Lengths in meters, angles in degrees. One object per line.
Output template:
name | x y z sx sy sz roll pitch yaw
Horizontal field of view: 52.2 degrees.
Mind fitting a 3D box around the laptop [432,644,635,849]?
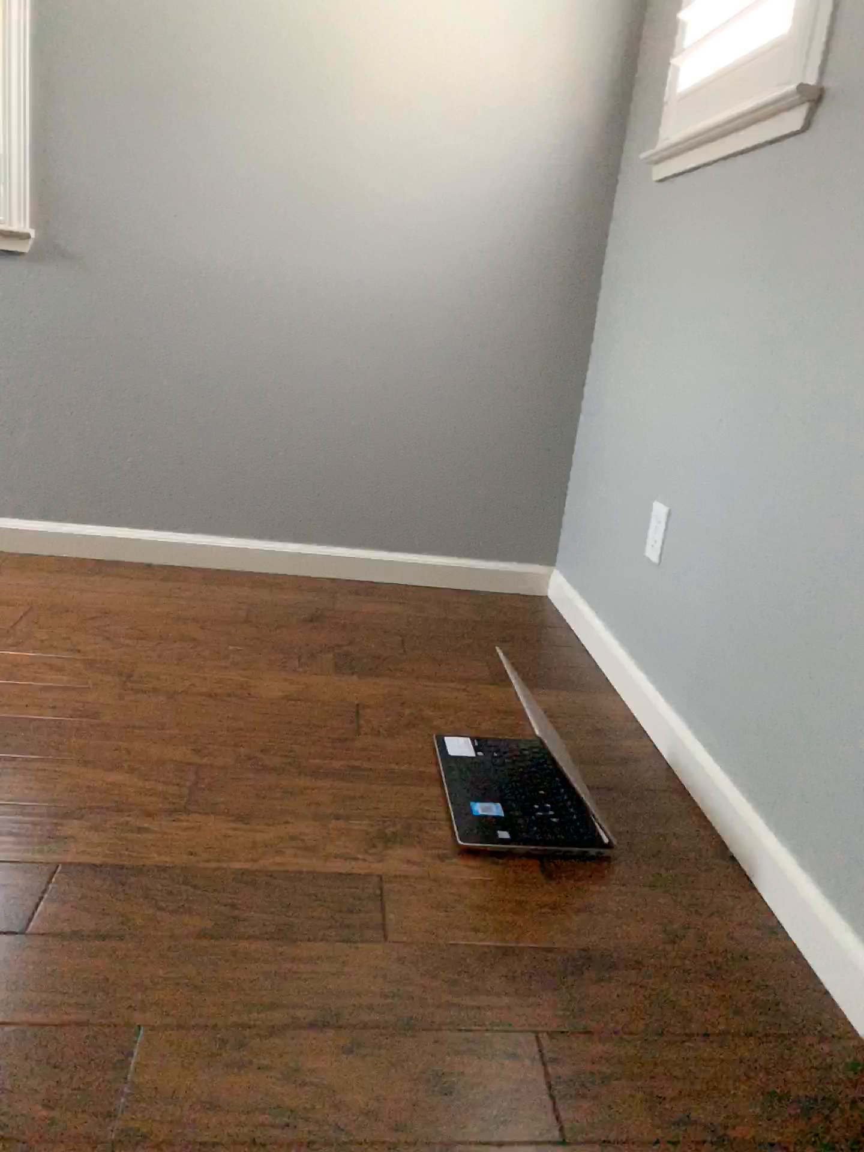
laptop | 0.136 0.245 1.335 0.219 0.169 0.318 5 16 -8
